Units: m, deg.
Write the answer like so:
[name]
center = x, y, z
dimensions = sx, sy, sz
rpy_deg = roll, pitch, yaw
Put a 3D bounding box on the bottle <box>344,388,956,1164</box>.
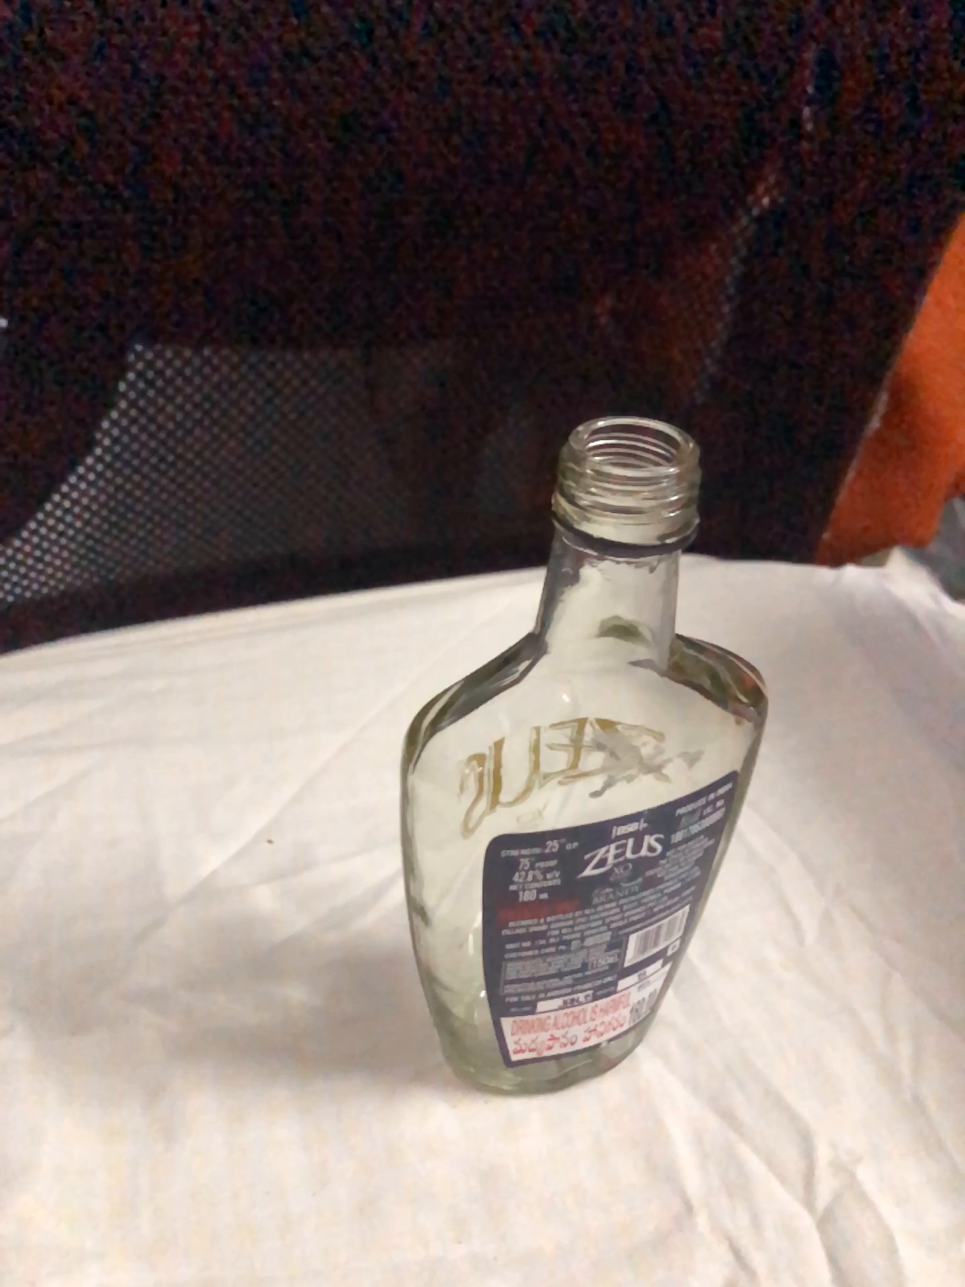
[bottle]
center = 0.022, 0.034, 0.233
dimensions = 0.090, 0.159, 0.050
rpy_deg = -11, 41, -21
